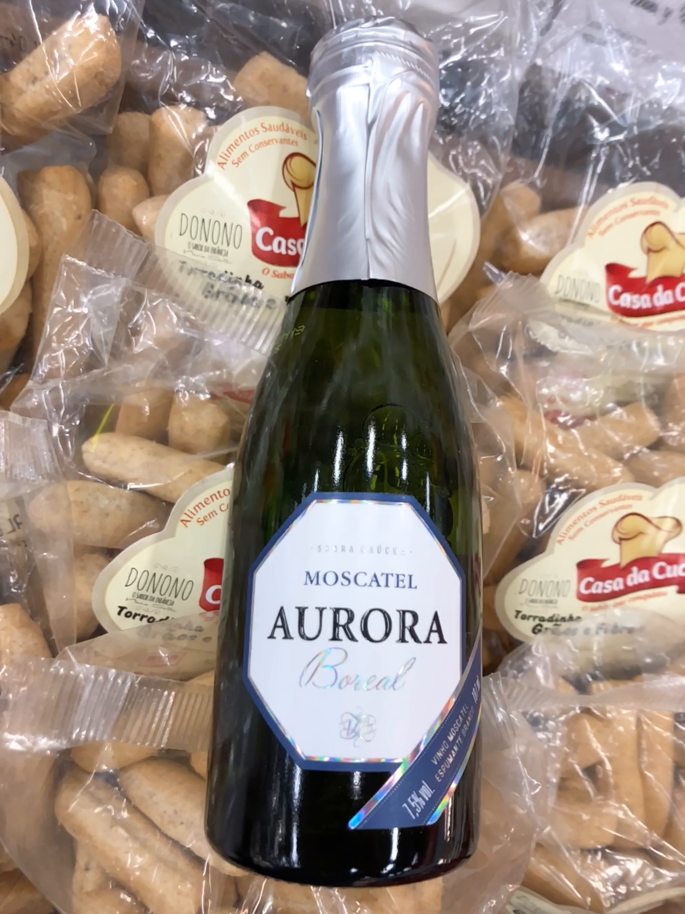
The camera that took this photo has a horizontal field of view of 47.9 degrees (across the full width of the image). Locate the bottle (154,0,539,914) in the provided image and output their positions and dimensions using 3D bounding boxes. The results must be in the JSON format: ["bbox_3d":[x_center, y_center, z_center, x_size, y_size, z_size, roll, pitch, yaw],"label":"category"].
[{"bbox_3d":[0.001,-0.015,0.164,0.060,0.050,0.200,5,83,-20],"label":"bottle"}]
